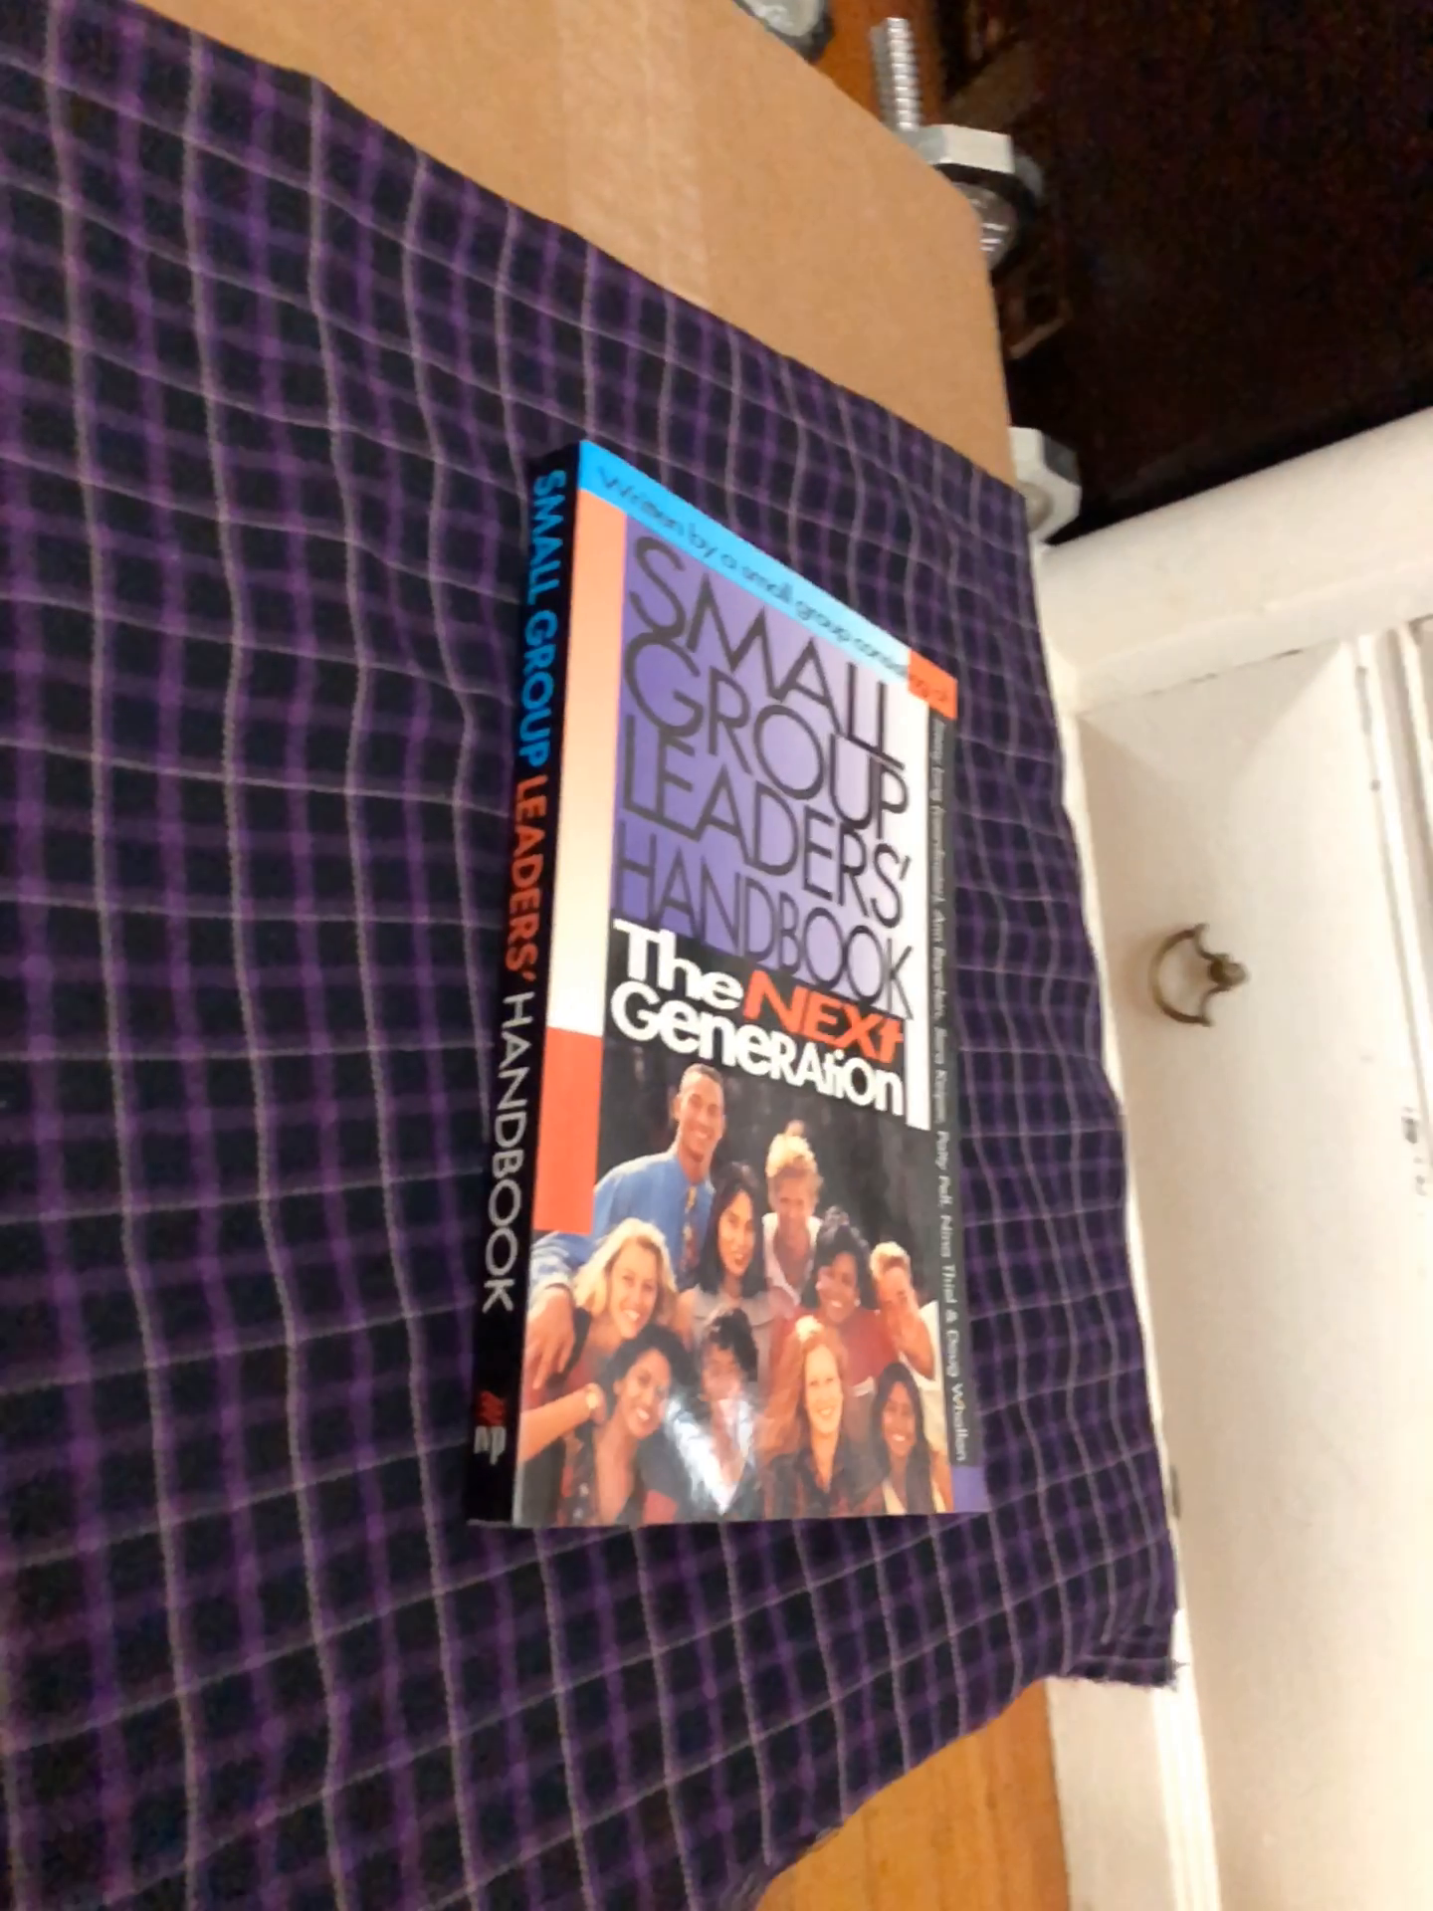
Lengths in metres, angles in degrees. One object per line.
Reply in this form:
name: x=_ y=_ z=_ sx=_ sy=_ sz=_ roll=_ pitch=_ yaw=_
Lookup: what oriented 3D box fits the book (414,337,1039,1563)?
book: x=0.011 y=0.005 z=0.336 sx=0.151 sy=0.030 sz=0.220 roll=18 pitch=67 yaw=-46
